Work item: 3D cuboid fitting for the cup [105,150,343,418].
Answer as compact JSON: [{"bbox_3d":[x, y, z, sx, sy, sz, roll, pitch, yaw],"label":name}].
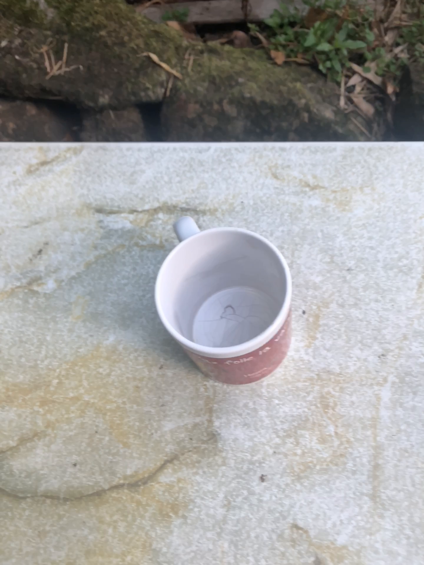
[{"bbox_3d":[0.006,0.004,0.307,0.086,0.083,0.130,-28,67,-4],"label":"cup"}]
